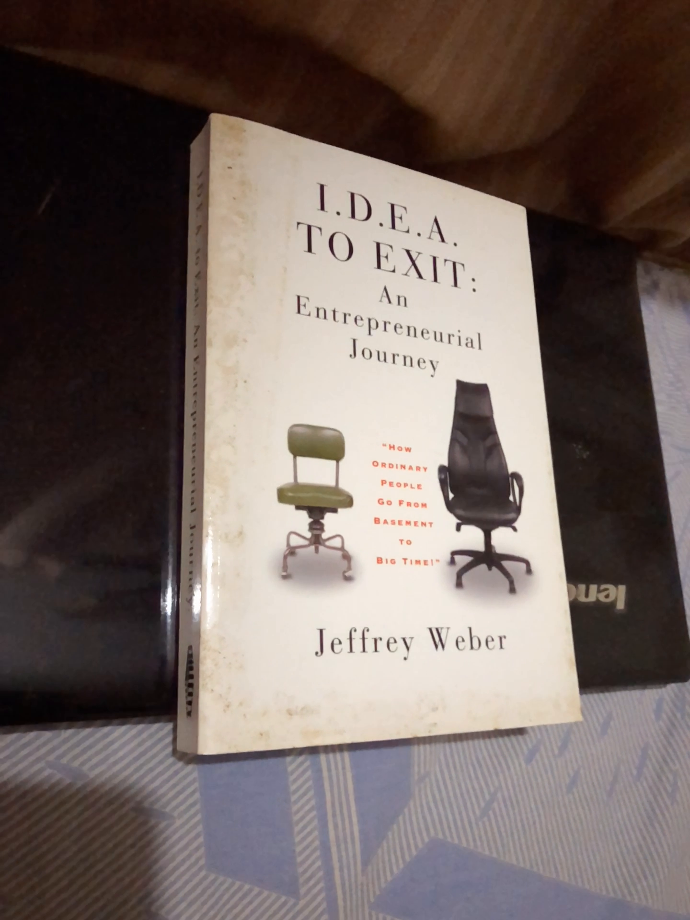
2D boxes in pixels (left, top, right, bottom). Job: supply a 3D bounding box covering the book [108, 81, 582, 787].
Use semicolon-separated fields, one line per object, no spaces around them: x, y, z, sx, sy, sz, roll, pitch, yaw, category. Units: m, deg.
0.002;-0.013;0.293;0.161;0.030;0.240;7;69;-27;book
